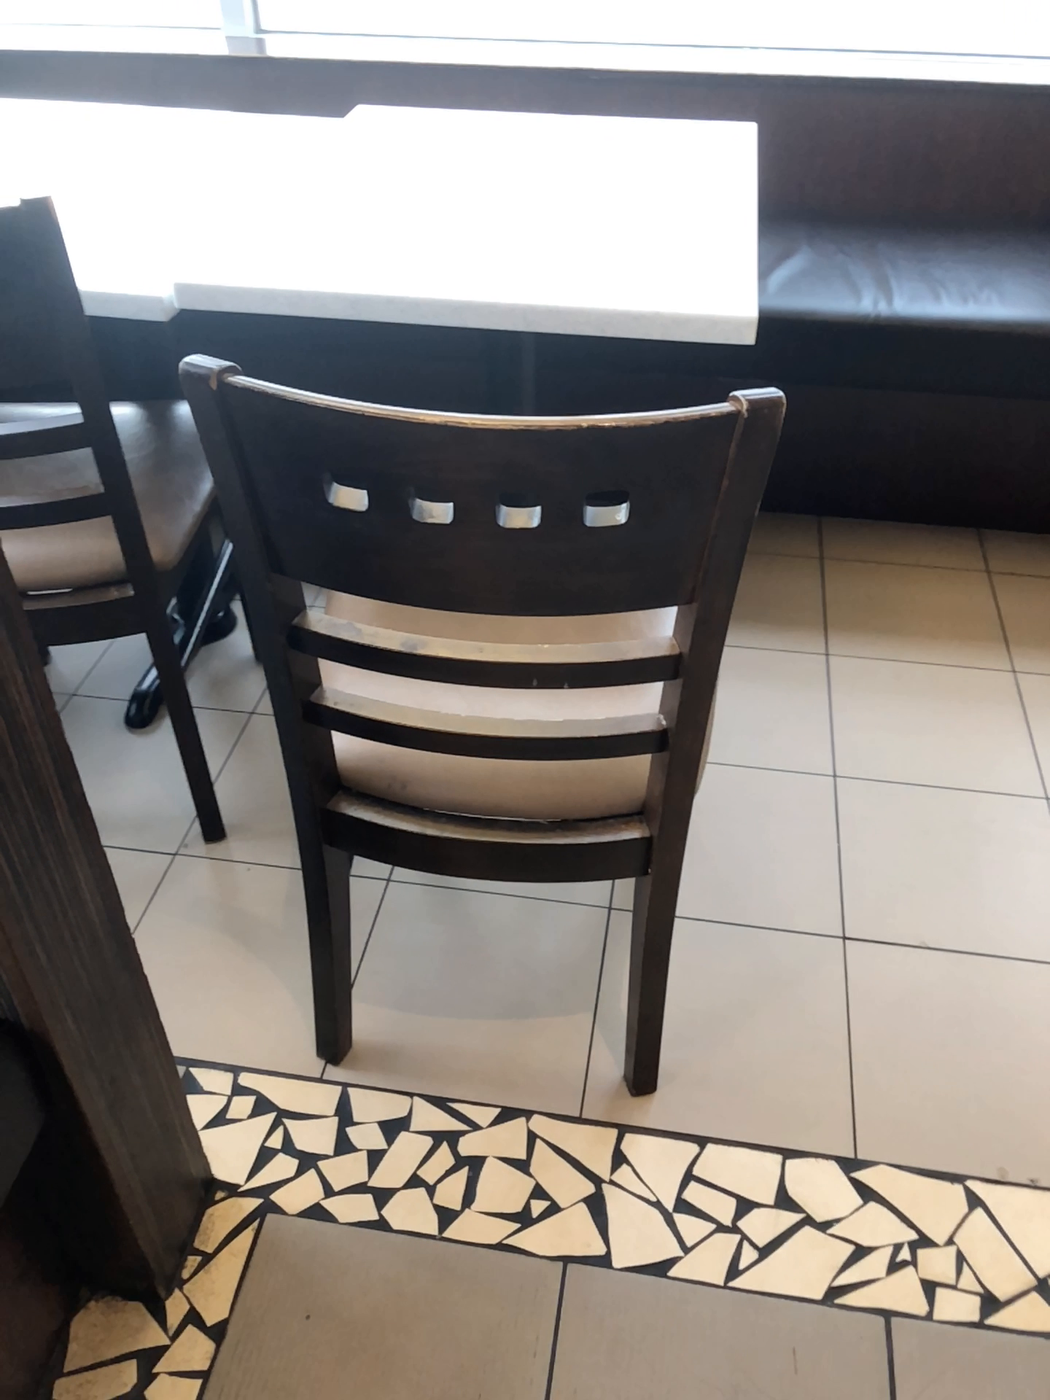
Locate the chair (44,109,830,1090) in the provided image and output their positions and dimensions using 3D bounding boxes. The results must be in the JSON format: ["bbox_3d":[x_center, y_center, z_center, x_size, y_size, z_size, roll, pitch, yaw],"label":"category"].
[{"bbox_3d":[-0.020,-0.100,1.121,0.470,0.715,0.574,6,42,6],"label":"chair"}]
